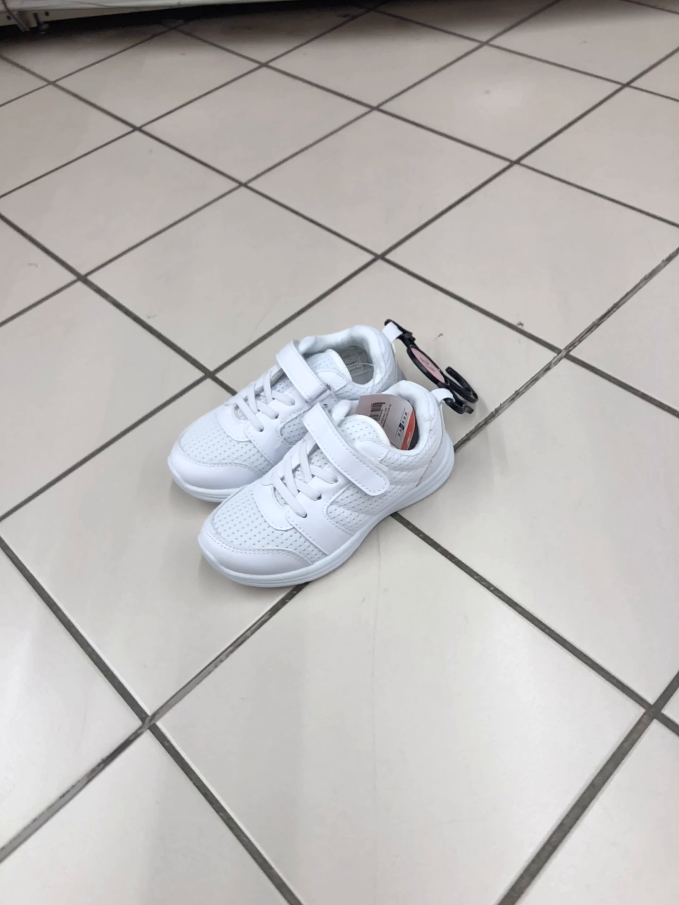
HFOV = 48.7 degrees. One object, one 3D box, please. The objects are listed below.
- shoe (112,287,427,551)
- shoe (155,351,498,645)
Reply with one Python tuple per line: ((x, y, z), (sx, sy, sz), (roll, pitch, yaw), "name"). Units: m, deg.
((-0.043, -0.028, 0.538), (0.200, 0.080, 0.080), (-28, 52, -16), "shoe")
((-0.003, 0.026, 0.494), (0.200, 0.080, 0.080), (-28, 52, -16), "shoe")
